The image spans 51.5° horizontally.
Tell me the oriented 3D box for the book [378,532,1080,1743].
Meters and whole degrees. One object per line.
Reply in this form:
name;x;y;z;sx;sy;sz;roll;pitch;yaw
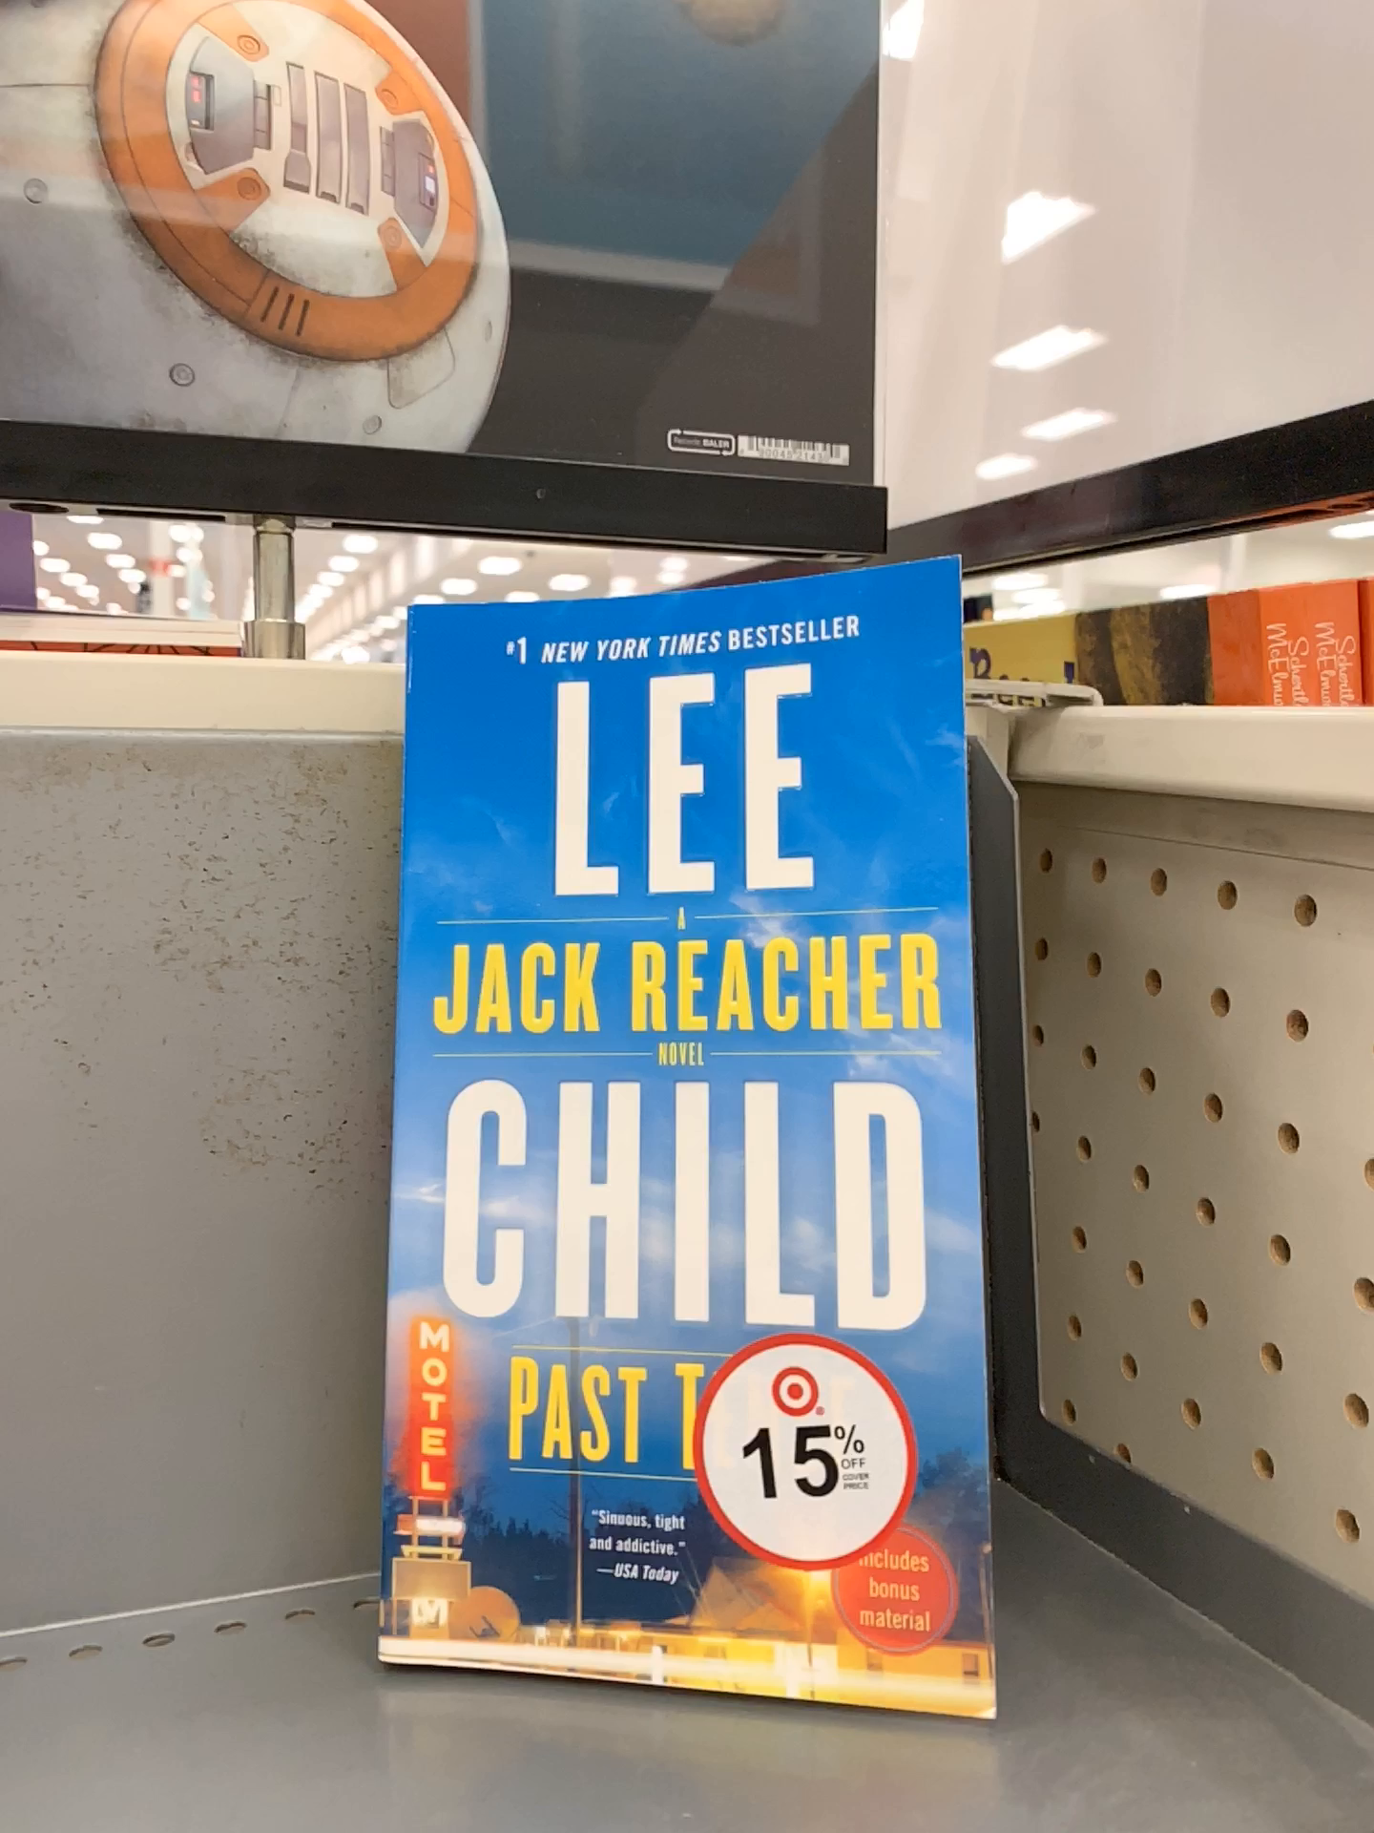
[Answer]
book;0.005;0.037;0.279;0.110;0.198;0.080;1;-10;-5
